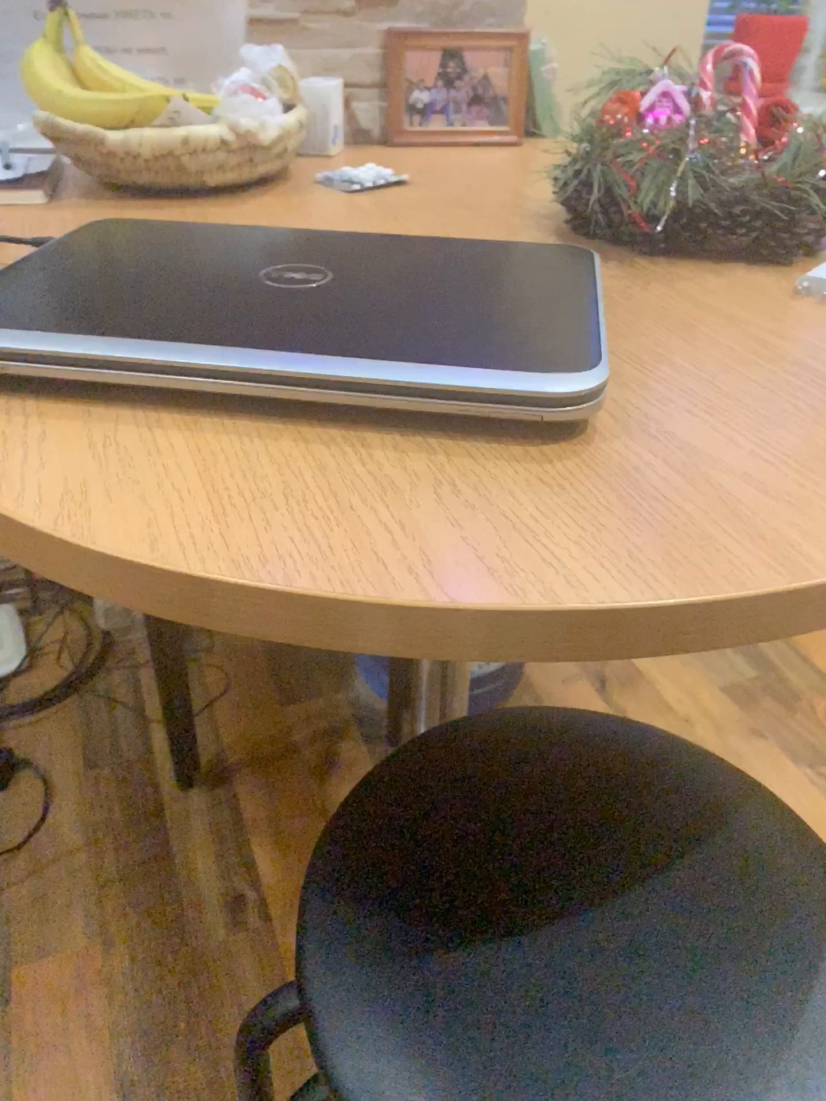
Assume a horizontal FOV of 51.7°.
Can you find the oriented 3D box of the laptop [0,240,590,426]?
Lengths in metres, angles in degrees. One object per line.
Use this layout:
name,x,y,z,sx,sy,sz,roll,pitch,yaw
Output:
laptop,-0.068,-0.148,0.529,0.348,0.004,0.226,6,37,9
